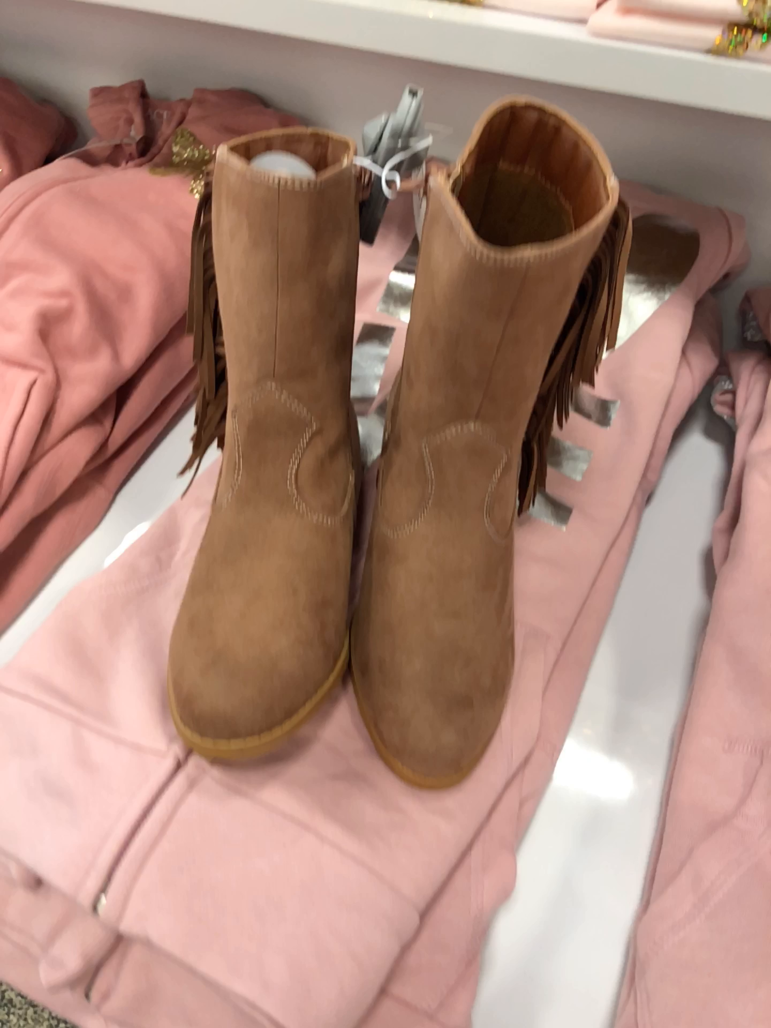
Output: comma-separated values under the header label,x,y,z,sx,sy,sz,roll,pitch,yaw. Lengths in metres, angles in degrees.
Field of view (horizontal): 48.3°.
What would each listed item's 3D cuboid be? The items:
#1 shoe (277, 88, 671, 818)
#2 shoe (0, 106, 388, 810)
label,x,y,z,sx,sy,sz,roll,pitch,yaw
shoe,0.029,-0.025,0.346,0.092,0.199,0.211,3,47,3
shoe,-0.052,-0.028,0.348,0.092,0.199,0.201,3,41,3
